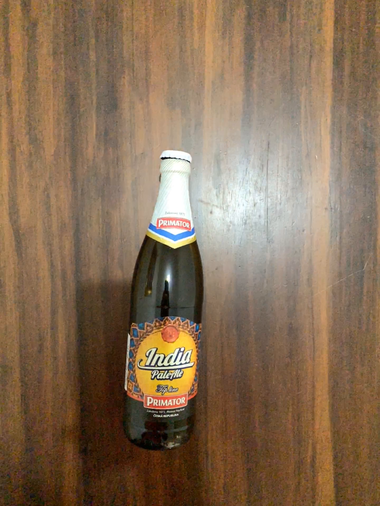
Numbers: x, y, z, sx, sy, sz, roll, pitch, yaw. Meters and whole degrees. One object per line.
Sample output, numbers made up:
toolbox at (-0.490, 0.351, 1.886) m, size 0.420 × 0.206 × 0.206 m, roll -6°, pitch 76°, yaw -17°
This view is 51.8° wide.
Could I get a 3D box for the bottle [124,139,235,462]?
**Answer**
bottle at (-0.013, 0.040, 0.349) m, size 0.080 × 0.060 × 0.260 m, roll 2°, pitch 92°, yaw -9°
